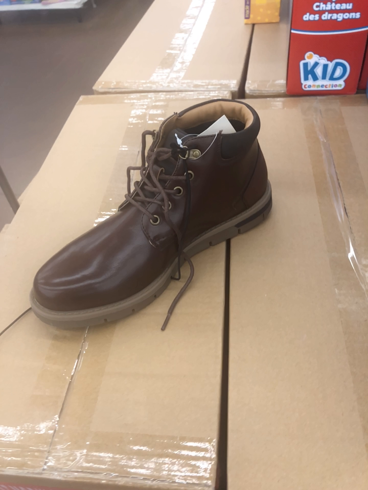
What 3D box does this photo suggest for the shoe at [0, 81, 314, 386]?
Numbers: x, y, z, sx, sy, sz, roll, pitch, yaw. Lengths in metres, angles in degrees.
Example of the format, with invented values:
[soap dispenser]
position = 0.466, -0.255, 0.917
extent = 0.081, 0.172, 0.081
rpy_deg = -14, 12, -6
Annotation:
[shoe]
position = -0.025, -0.023, 0.420
extent = 0.290, 0.159, 0.120
rpy_deg = -31, 51, -21
